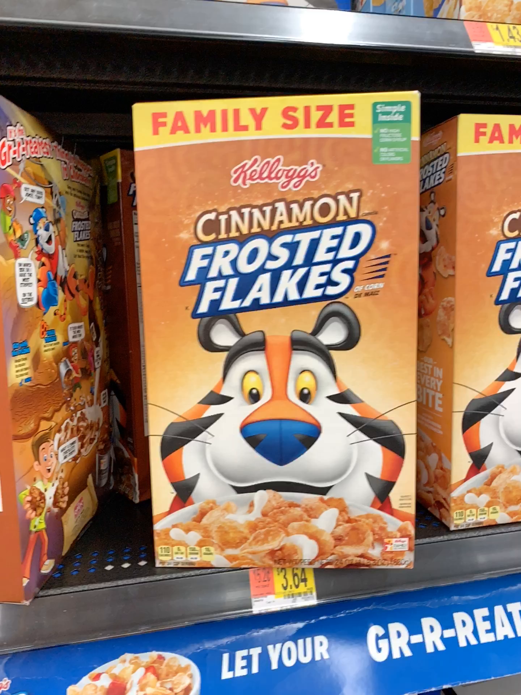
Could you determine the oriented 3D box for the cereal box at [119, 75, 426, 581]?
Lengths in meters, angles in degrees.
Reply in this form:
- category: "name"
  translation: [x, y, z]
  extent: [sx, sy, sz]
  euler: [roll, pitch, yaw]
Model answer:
- category: "cereal box"
  translation: [0.014, -0.008, 0.410]
  extent: [0.200, 0.340, 0.080]
  euler: [-1, 5, 5]
